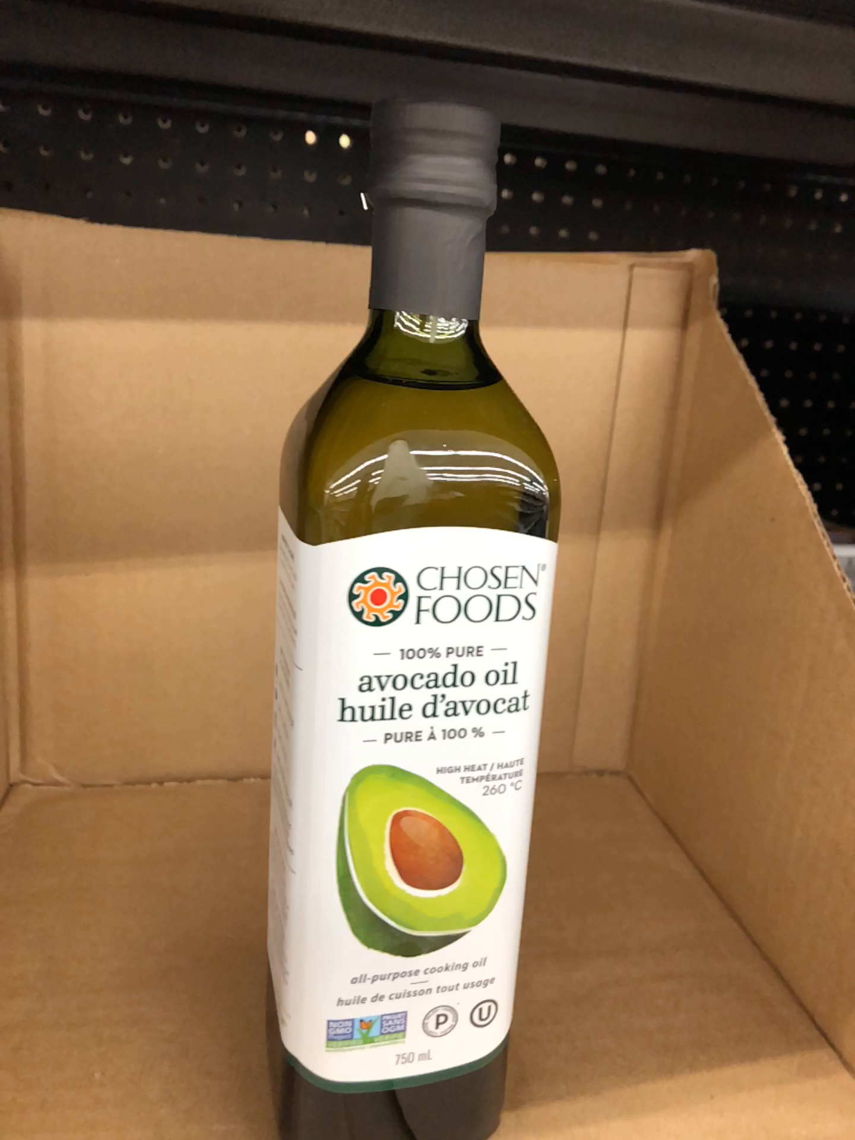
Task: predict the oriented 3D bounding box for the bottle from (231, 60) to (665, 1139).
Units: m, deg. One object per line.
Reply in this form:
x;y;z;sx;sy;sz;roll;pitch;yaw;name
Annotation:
-0.009;0.032;0.281;0.090;0.308;0.070;-1;18;-15;bottle
